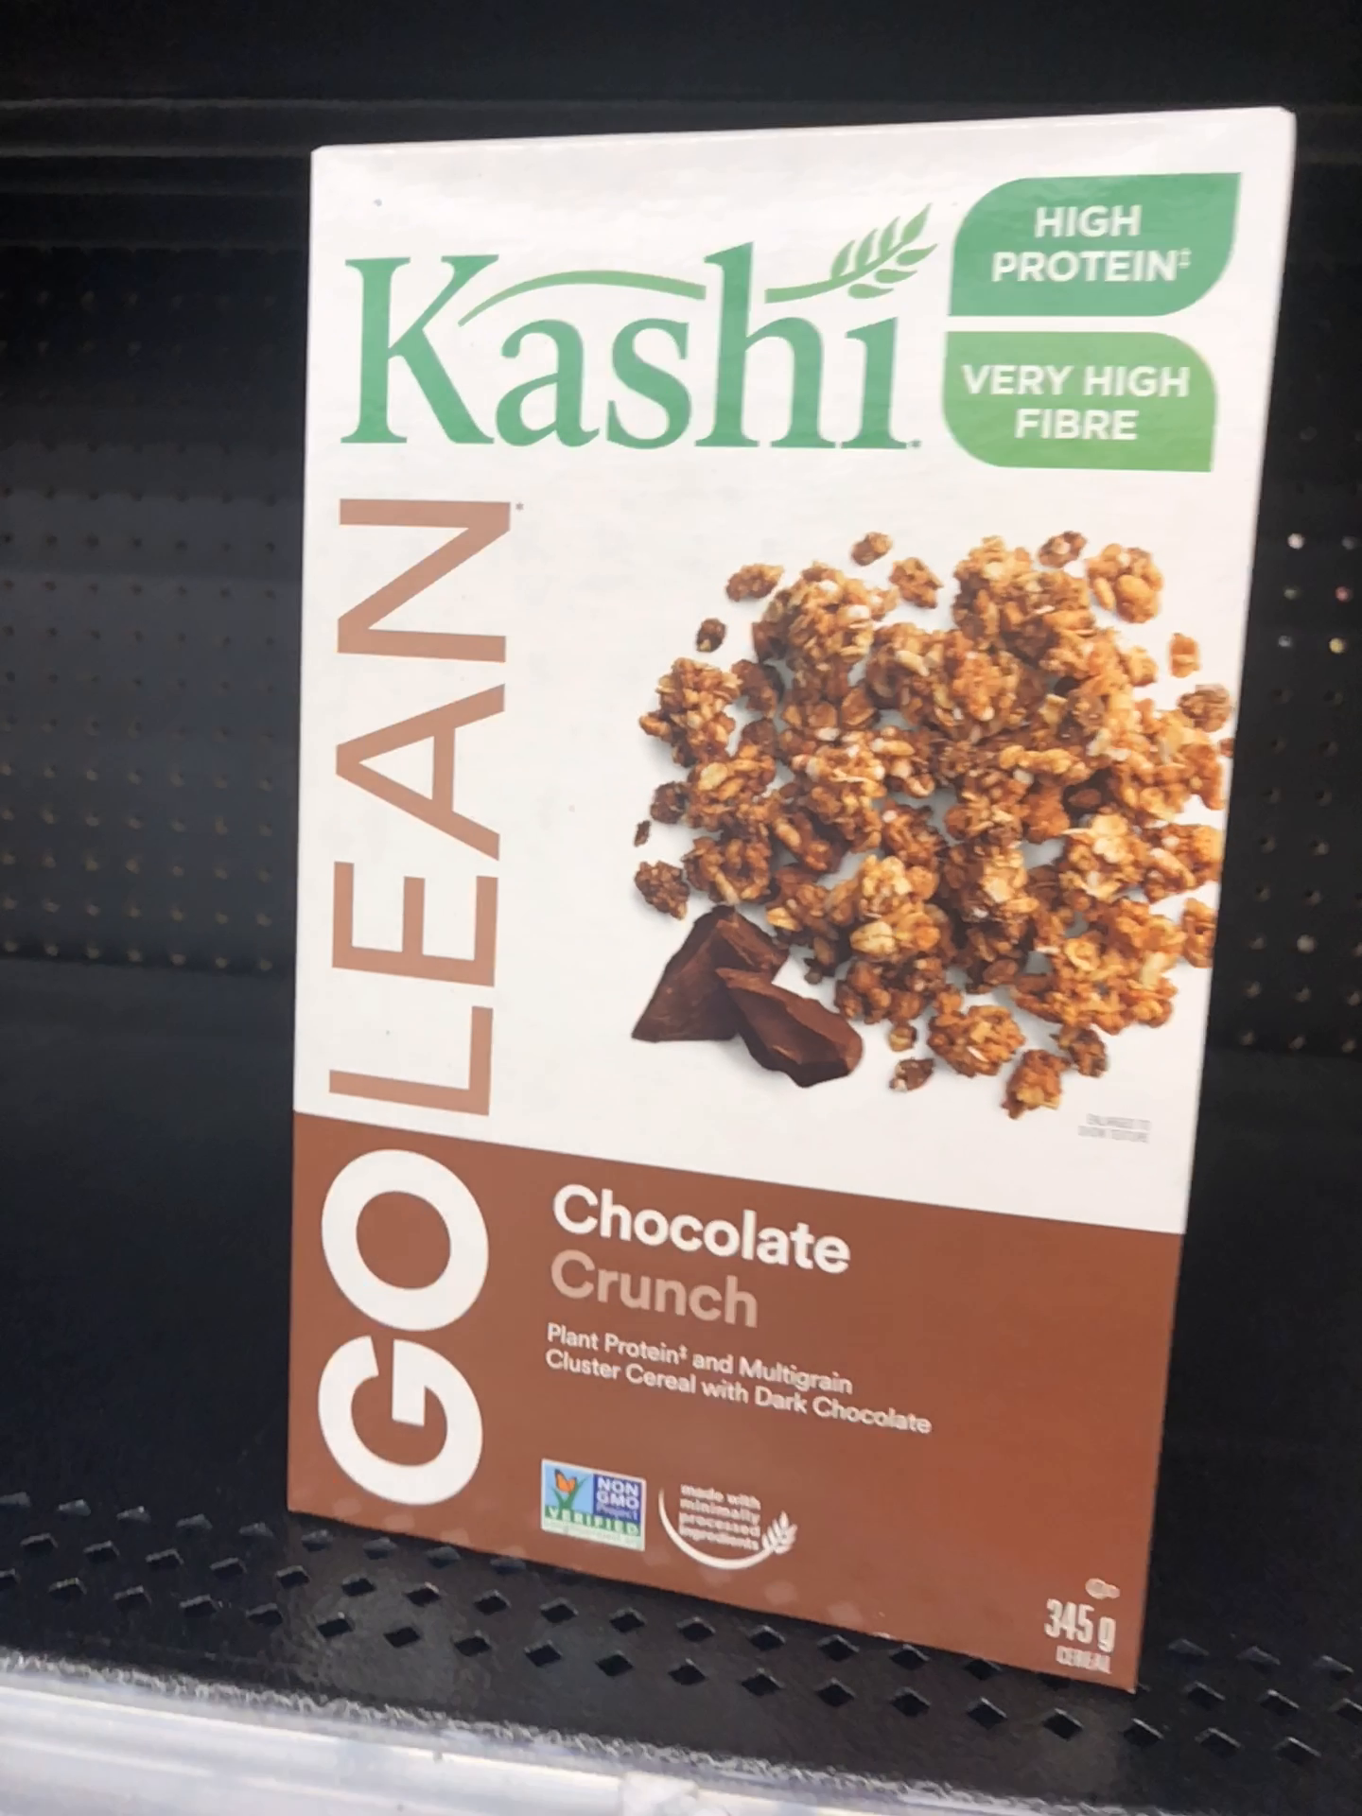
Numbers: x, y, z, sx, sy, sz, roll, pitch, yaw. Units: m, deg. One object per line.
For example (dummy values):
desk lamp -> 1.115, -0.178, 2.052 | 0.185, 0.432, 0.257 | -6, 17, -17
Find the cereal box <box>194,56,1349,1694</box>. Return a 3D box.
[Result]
cereal box -> 0.007, -0.007, 0.278 | 0.180, 0.250, 0.050 | 5, 8, 15
